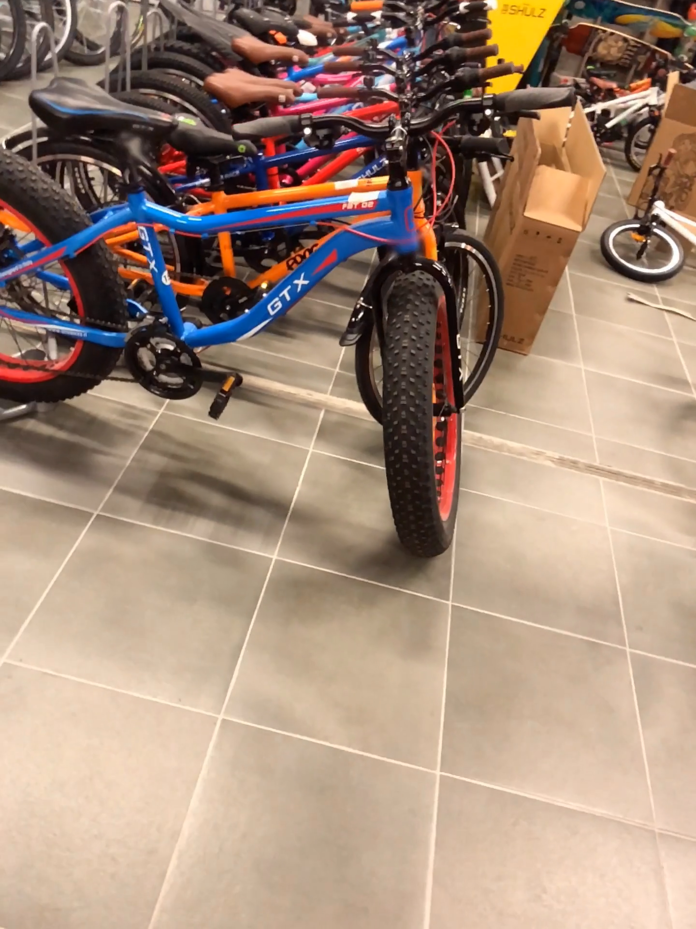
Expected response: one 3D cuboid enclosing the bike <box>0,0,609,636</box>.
[{"bbox_3d":[-0.418,-0.394,1.605,1.466,1.023,0.618,15,37,-1],"label":"bike"}]
